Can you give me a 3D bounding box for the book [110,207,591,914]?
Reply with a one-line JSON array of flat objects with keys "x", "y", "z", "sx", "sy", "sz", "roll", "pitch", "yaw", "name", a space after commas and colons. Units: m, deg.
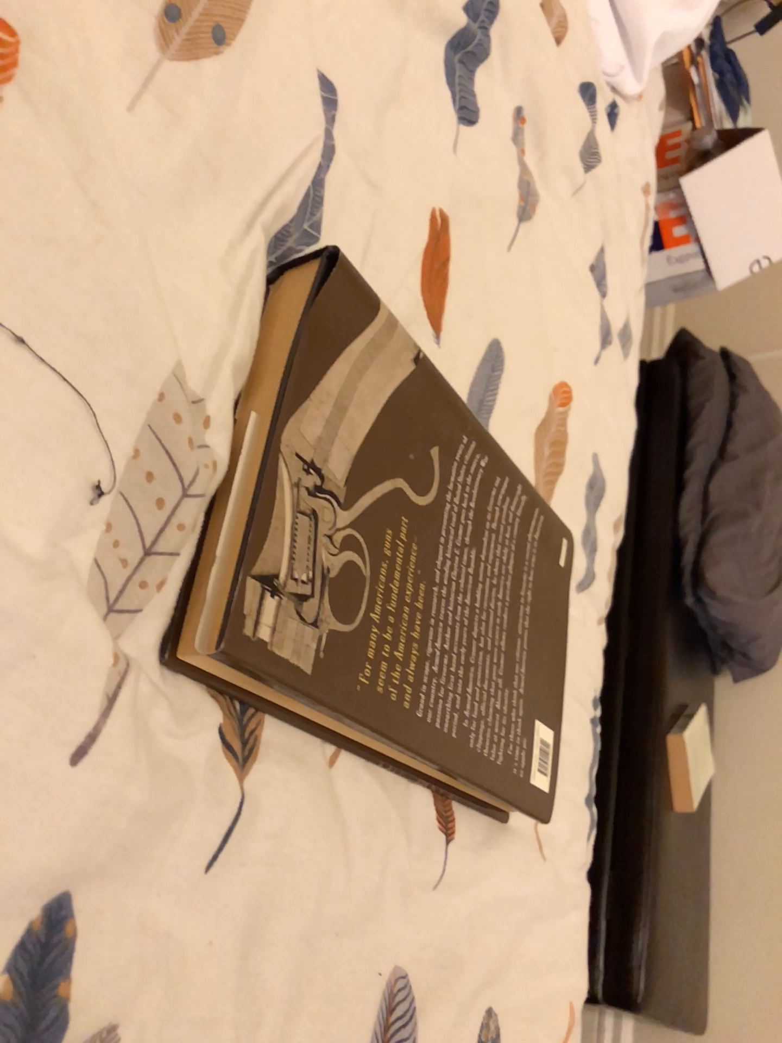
[{"x": 0.018, "y": 0.036, "z": 0.334, "sx": 0.241, "sy": 0.030, "sz": 0.180, "roll": 44, "pitch": 49, "yaw": -48, "name": "book"}]
